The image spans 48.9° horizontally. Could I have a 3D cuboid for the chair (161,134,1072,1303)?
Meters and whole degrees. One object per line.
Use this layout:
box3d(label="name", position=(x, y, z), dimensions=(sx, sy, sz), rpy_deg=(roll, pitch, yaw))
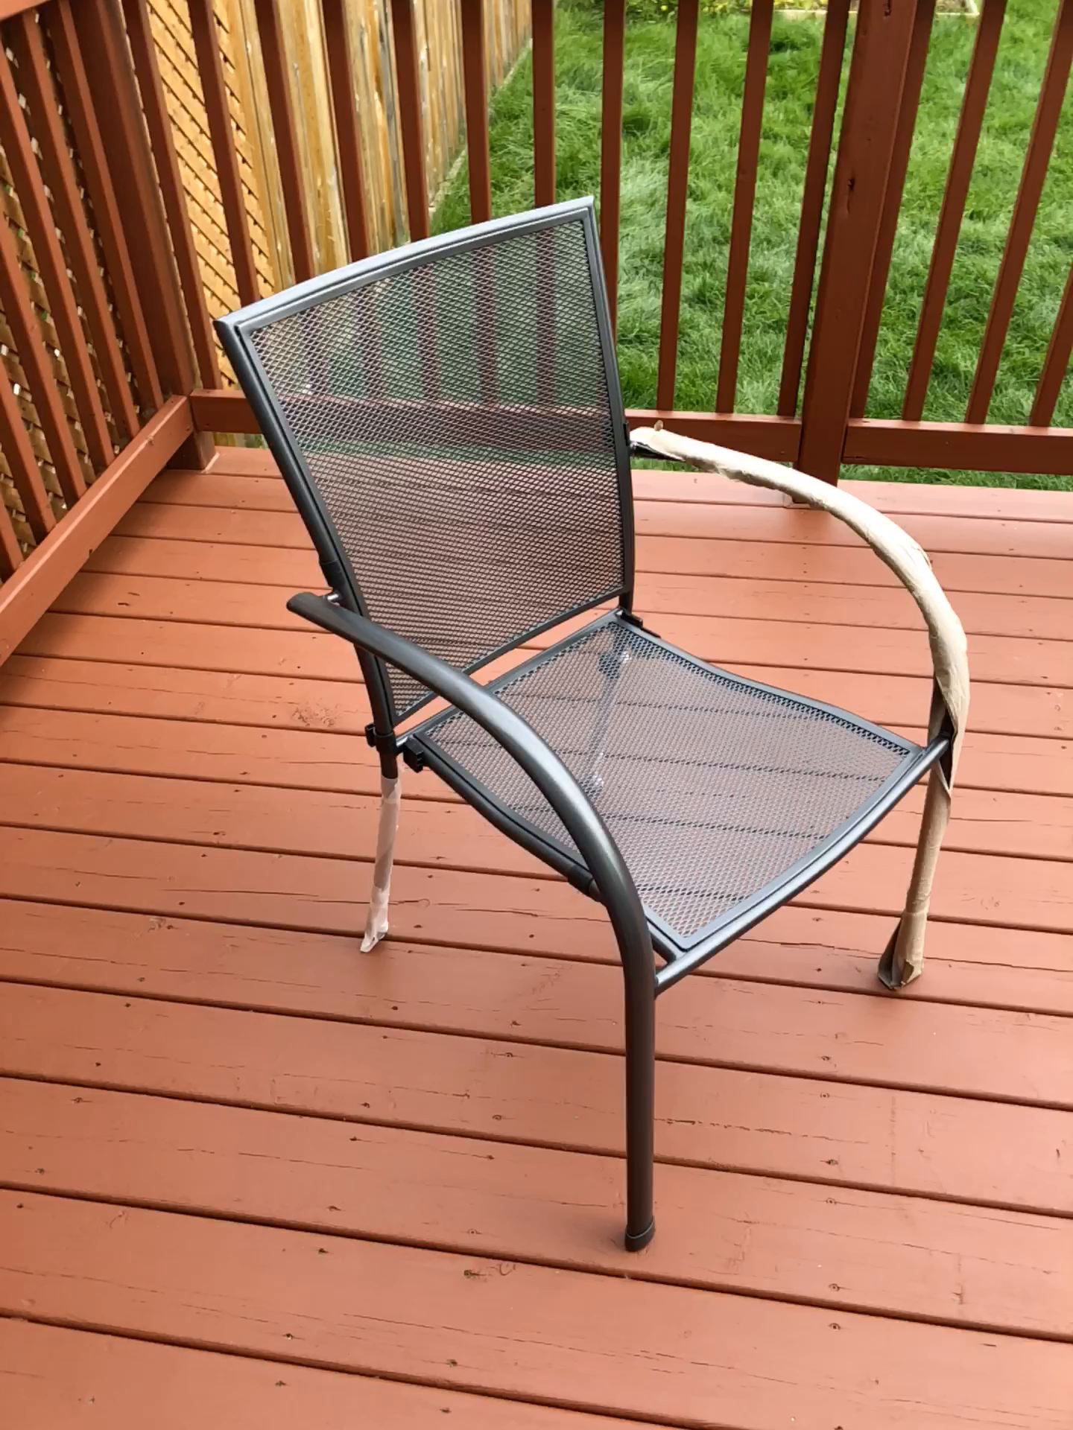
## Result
box3d(label="chair", position=(0.127, -0.016, 1.290), dimensions=(0.601, 0.926, 0.652), rpy_deg=(-32, 49, -31))
